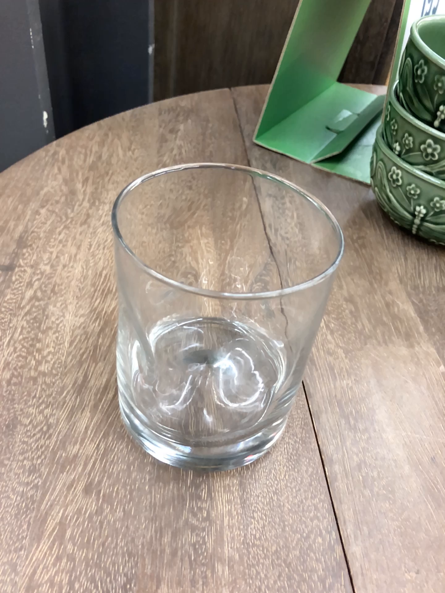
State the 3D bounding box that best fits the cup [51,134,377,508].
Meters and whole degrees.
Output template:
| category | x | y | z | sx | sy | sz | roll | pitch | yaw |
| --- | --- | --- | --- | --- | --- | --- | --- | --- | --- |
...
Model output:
| category | x | y | z | sx | sy | sz | roll | pitch | yaw |
| --- | --- | --- | --- | --- | --- | --- | --- | --- | --- |
| cup | -0.001 | 0.007 | 0.199 | 0.084 | 0.098 | 0.084 | 4 | 41 | -4 |
